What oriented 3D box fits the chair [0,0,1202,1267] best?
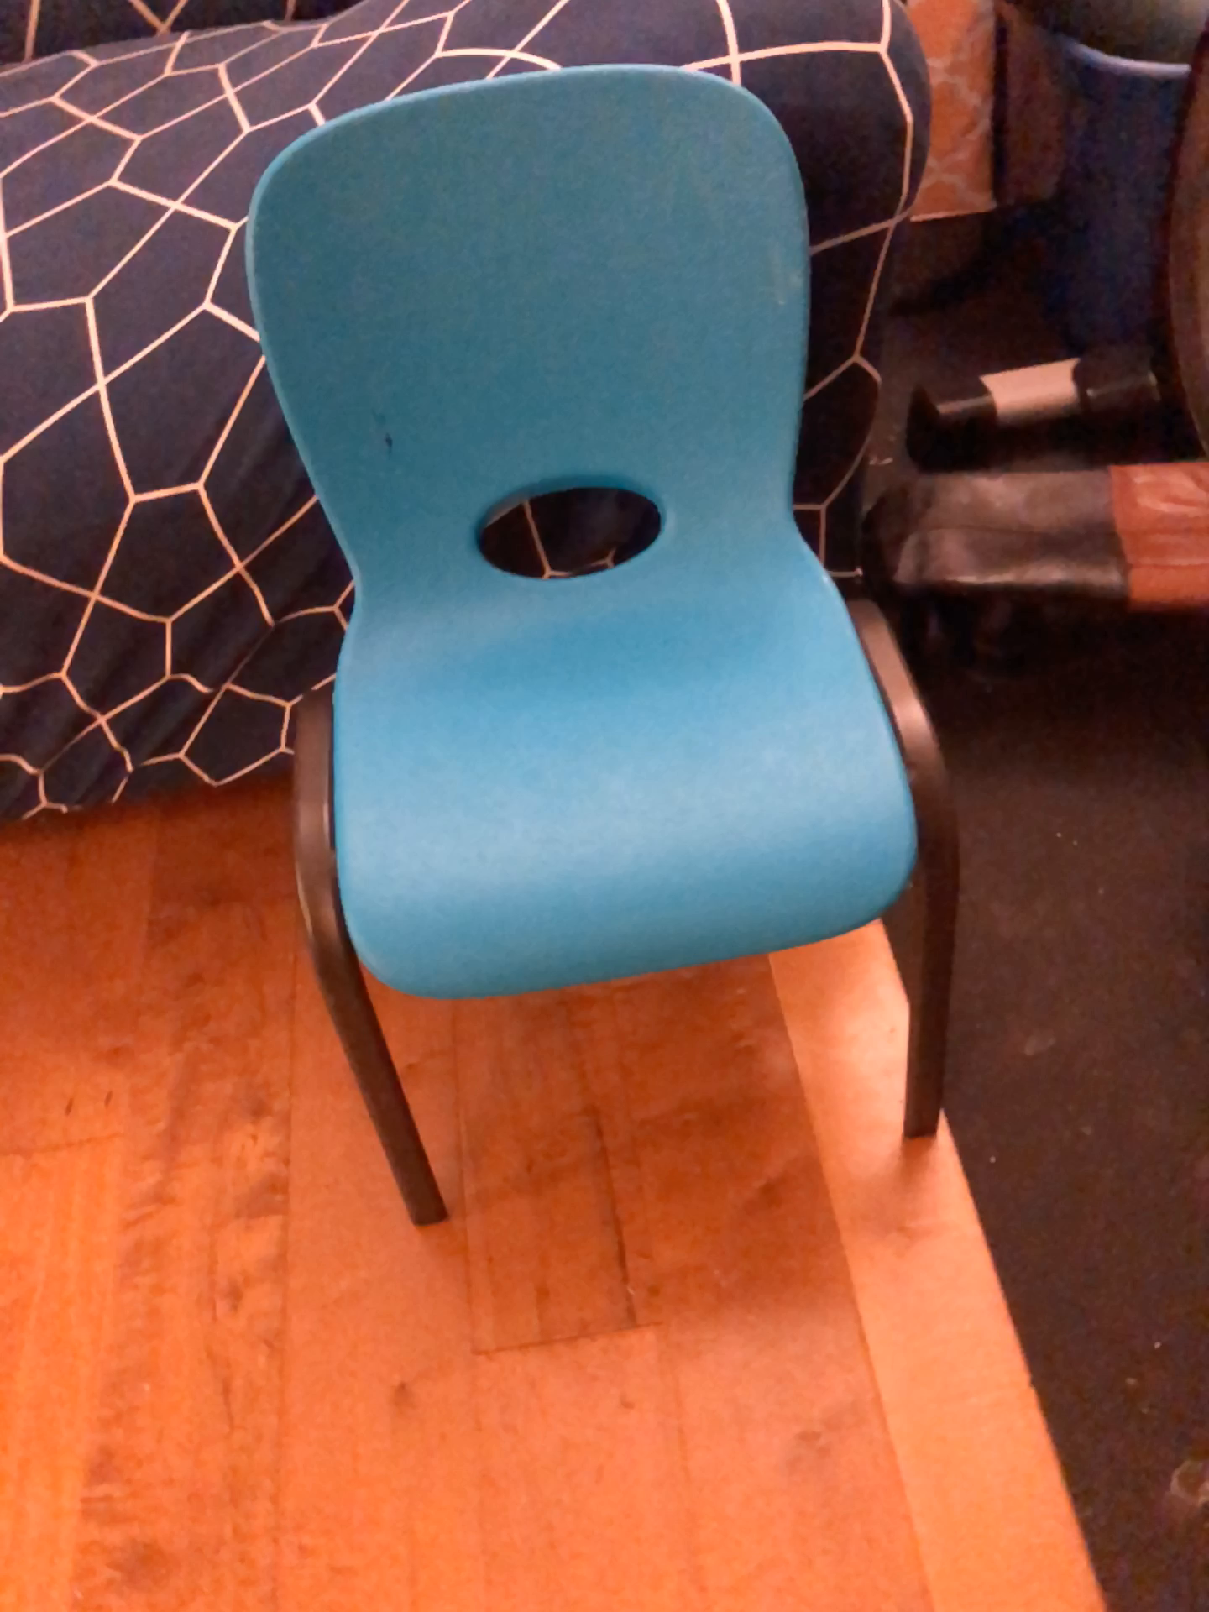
[{"bbox_3d":[-0.020,-0.072,0.768,0.430,0.527,0.403,-11,50,-3],"label":"chair"}]
